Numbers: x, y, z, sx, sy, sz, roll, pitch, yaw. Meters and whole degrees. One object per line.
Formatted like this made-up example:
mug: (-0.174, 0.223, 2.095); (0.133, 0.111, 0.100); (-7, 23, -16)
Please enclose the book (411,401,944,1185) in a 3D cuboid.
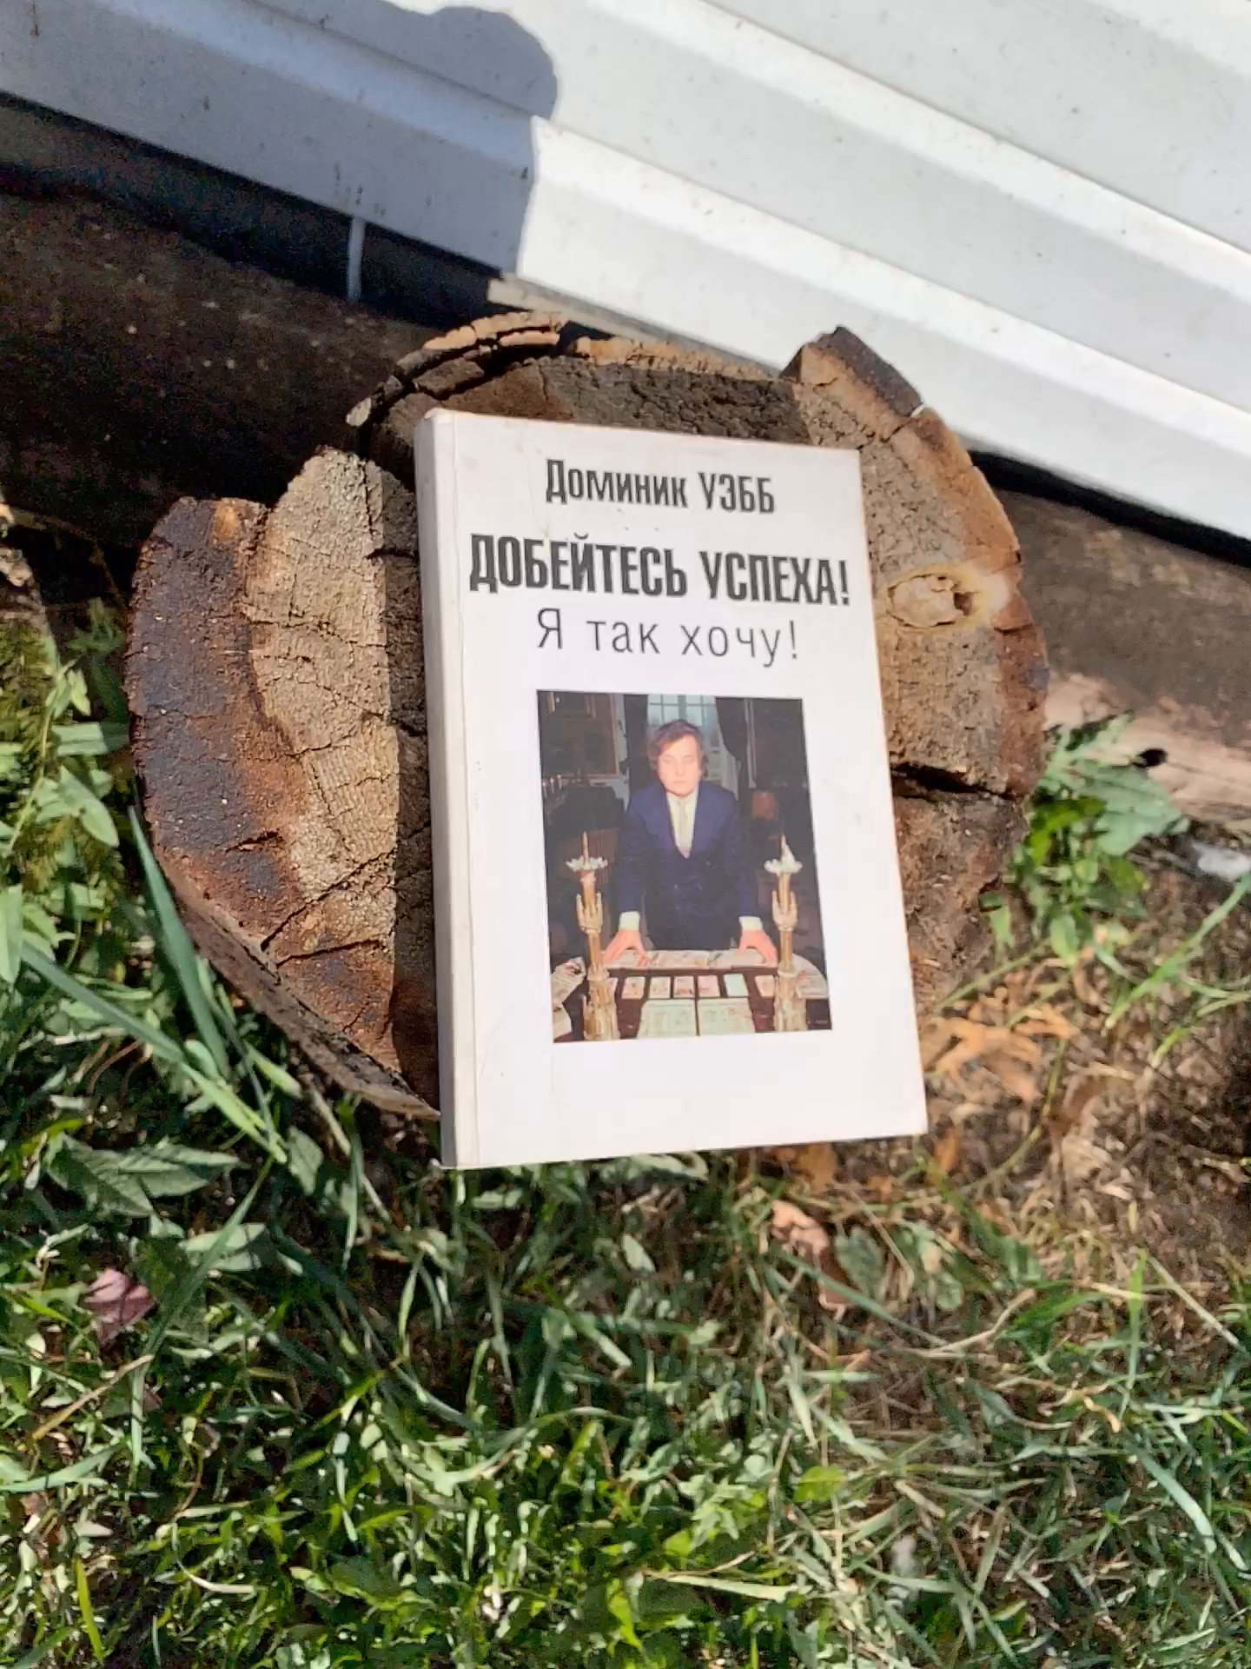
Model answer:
book: (0.013, -0.015, 0.368); (0.140, 0.020, 0.210); (0, 78, -18)
